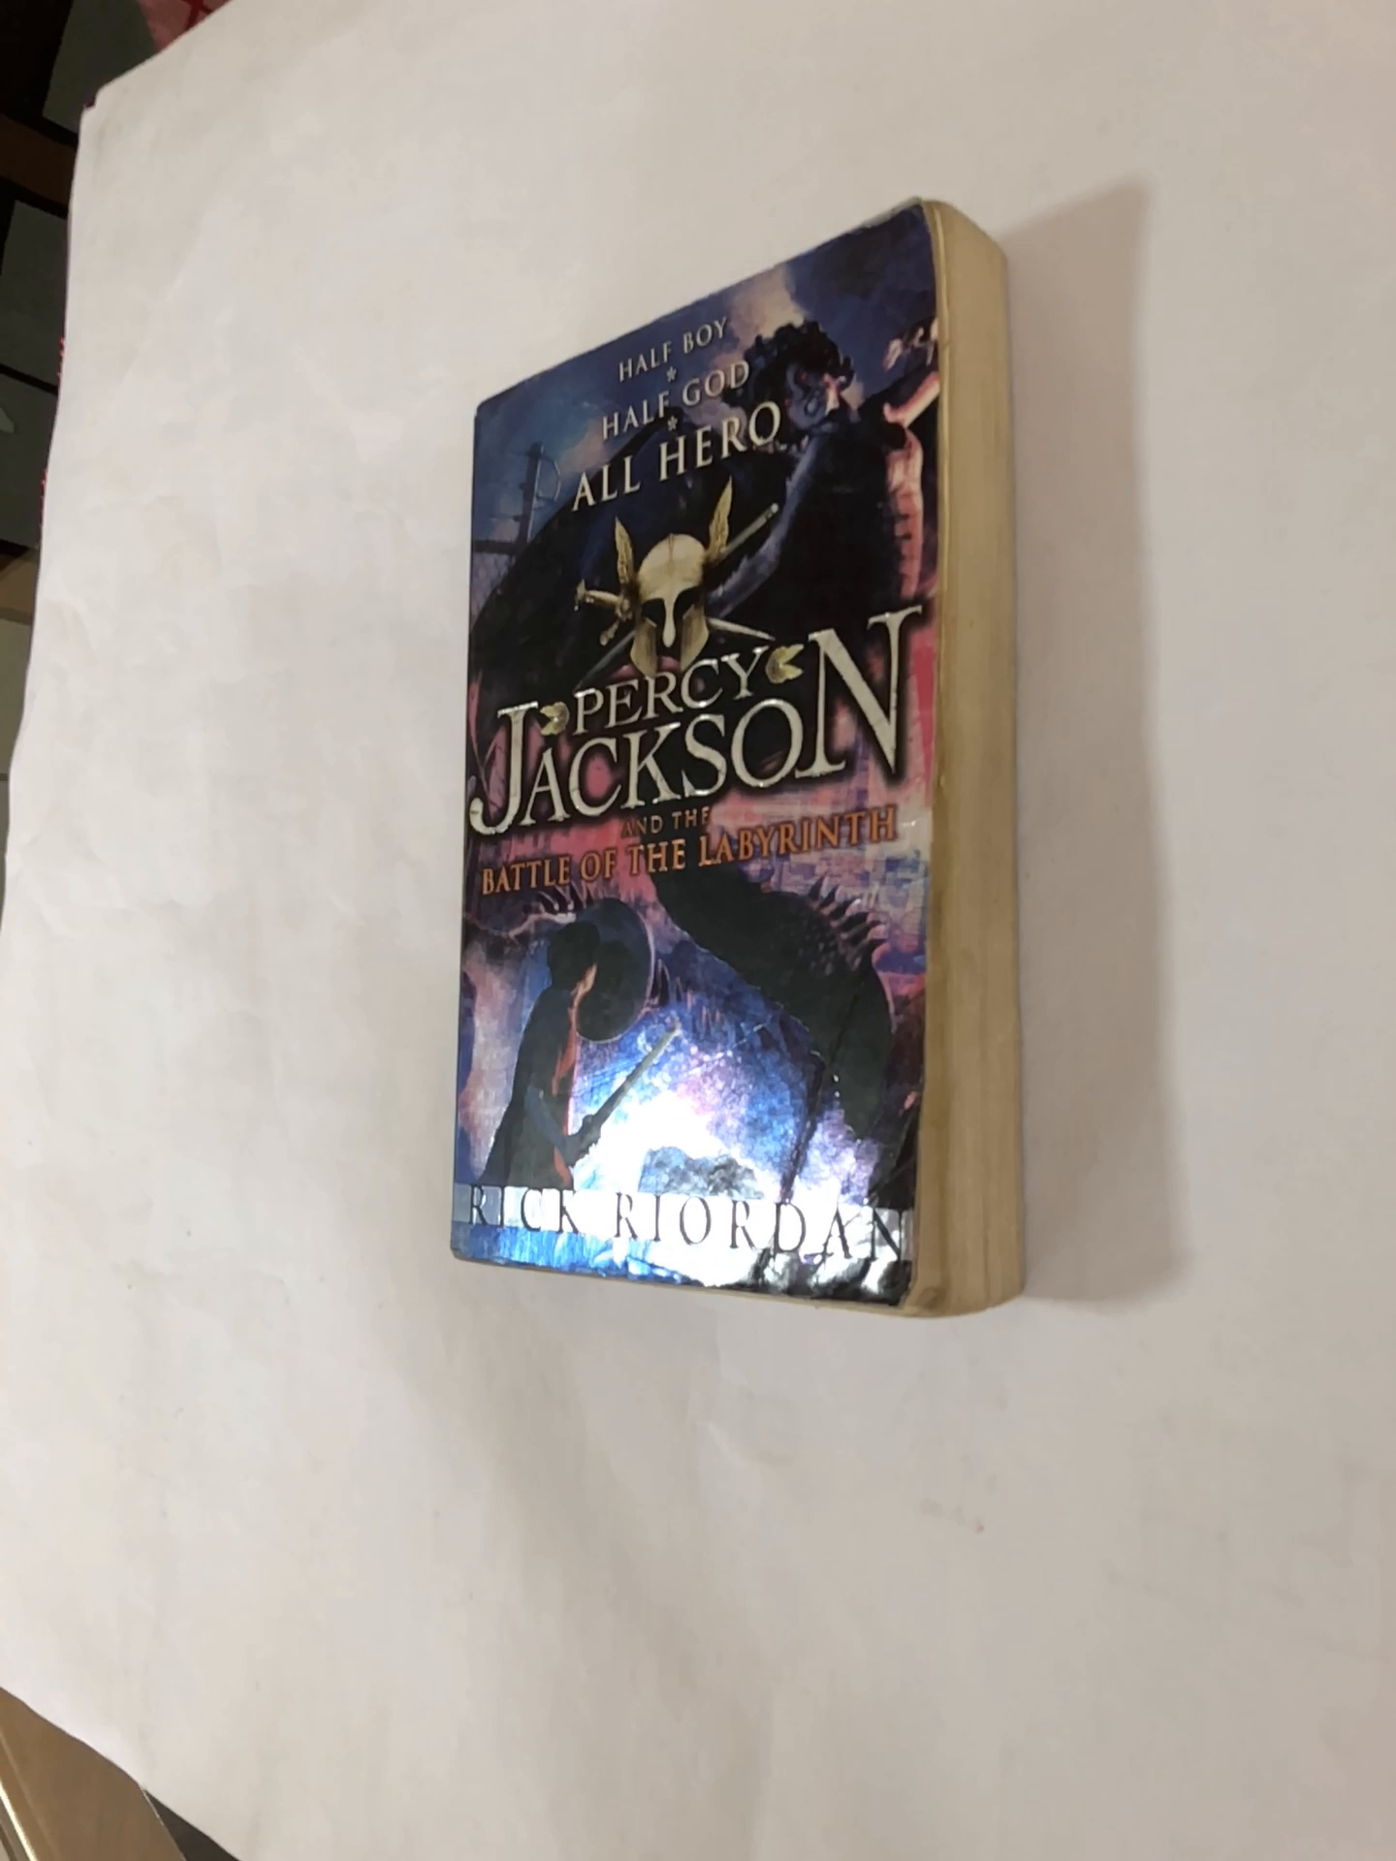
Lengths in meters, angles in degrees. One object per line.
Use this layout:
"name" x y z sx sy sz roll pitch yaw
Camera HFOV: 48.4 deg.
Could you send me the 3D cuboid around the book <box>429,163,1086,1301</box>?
"book" 0.007 -0.029 0.310 0.131 0.040 0.190 -6 80 42
